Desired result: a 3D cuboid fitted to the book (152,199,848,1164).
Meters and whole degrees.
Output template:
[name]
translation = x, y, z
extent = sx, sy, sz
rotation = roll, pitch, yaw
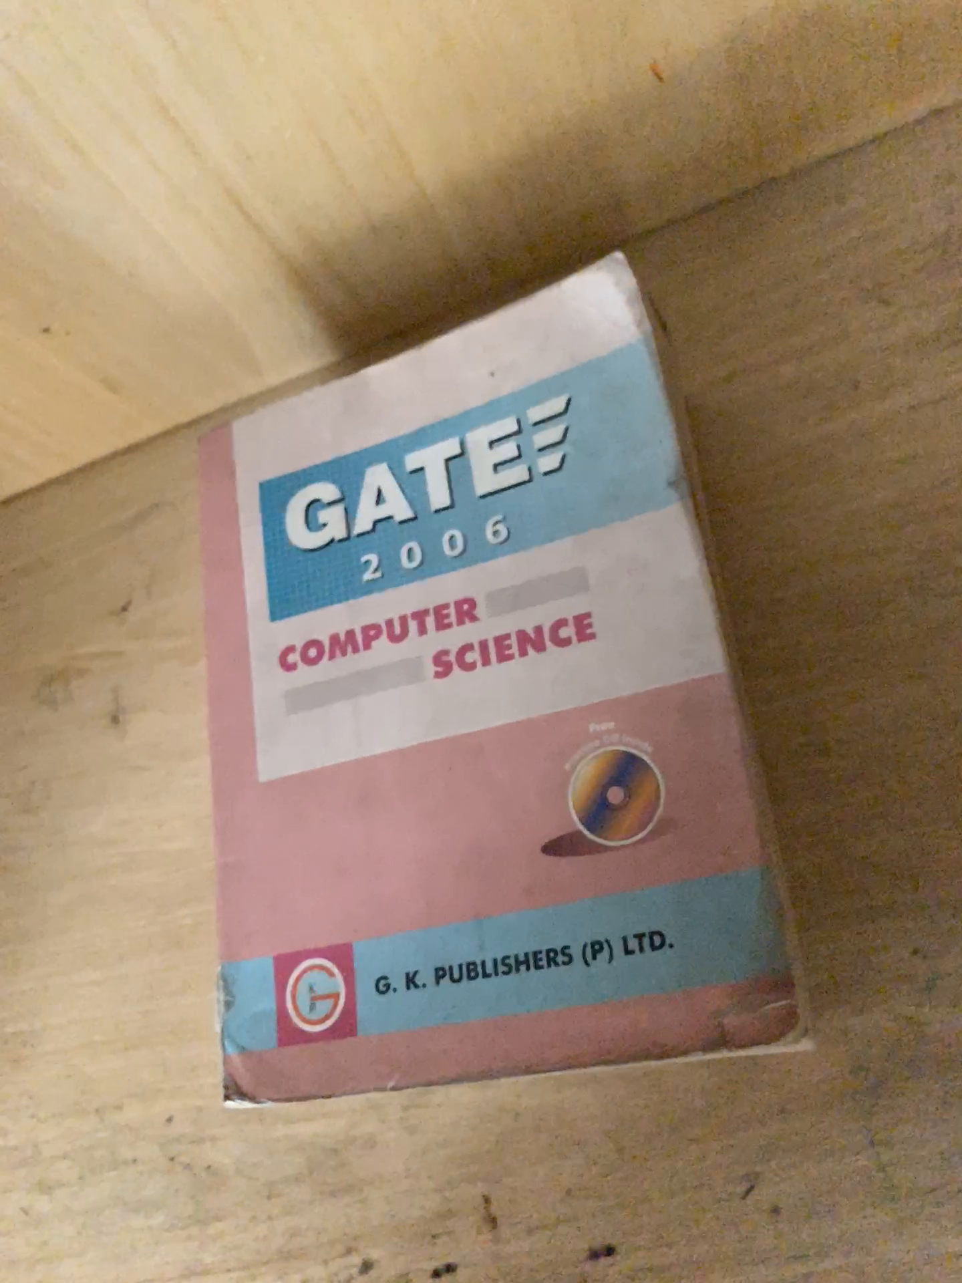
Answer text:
[book]
translation = -0.007, 0.015, 0.345
extent = 0.190, 0.080, 0.271
rotation = -14, 69, 18
